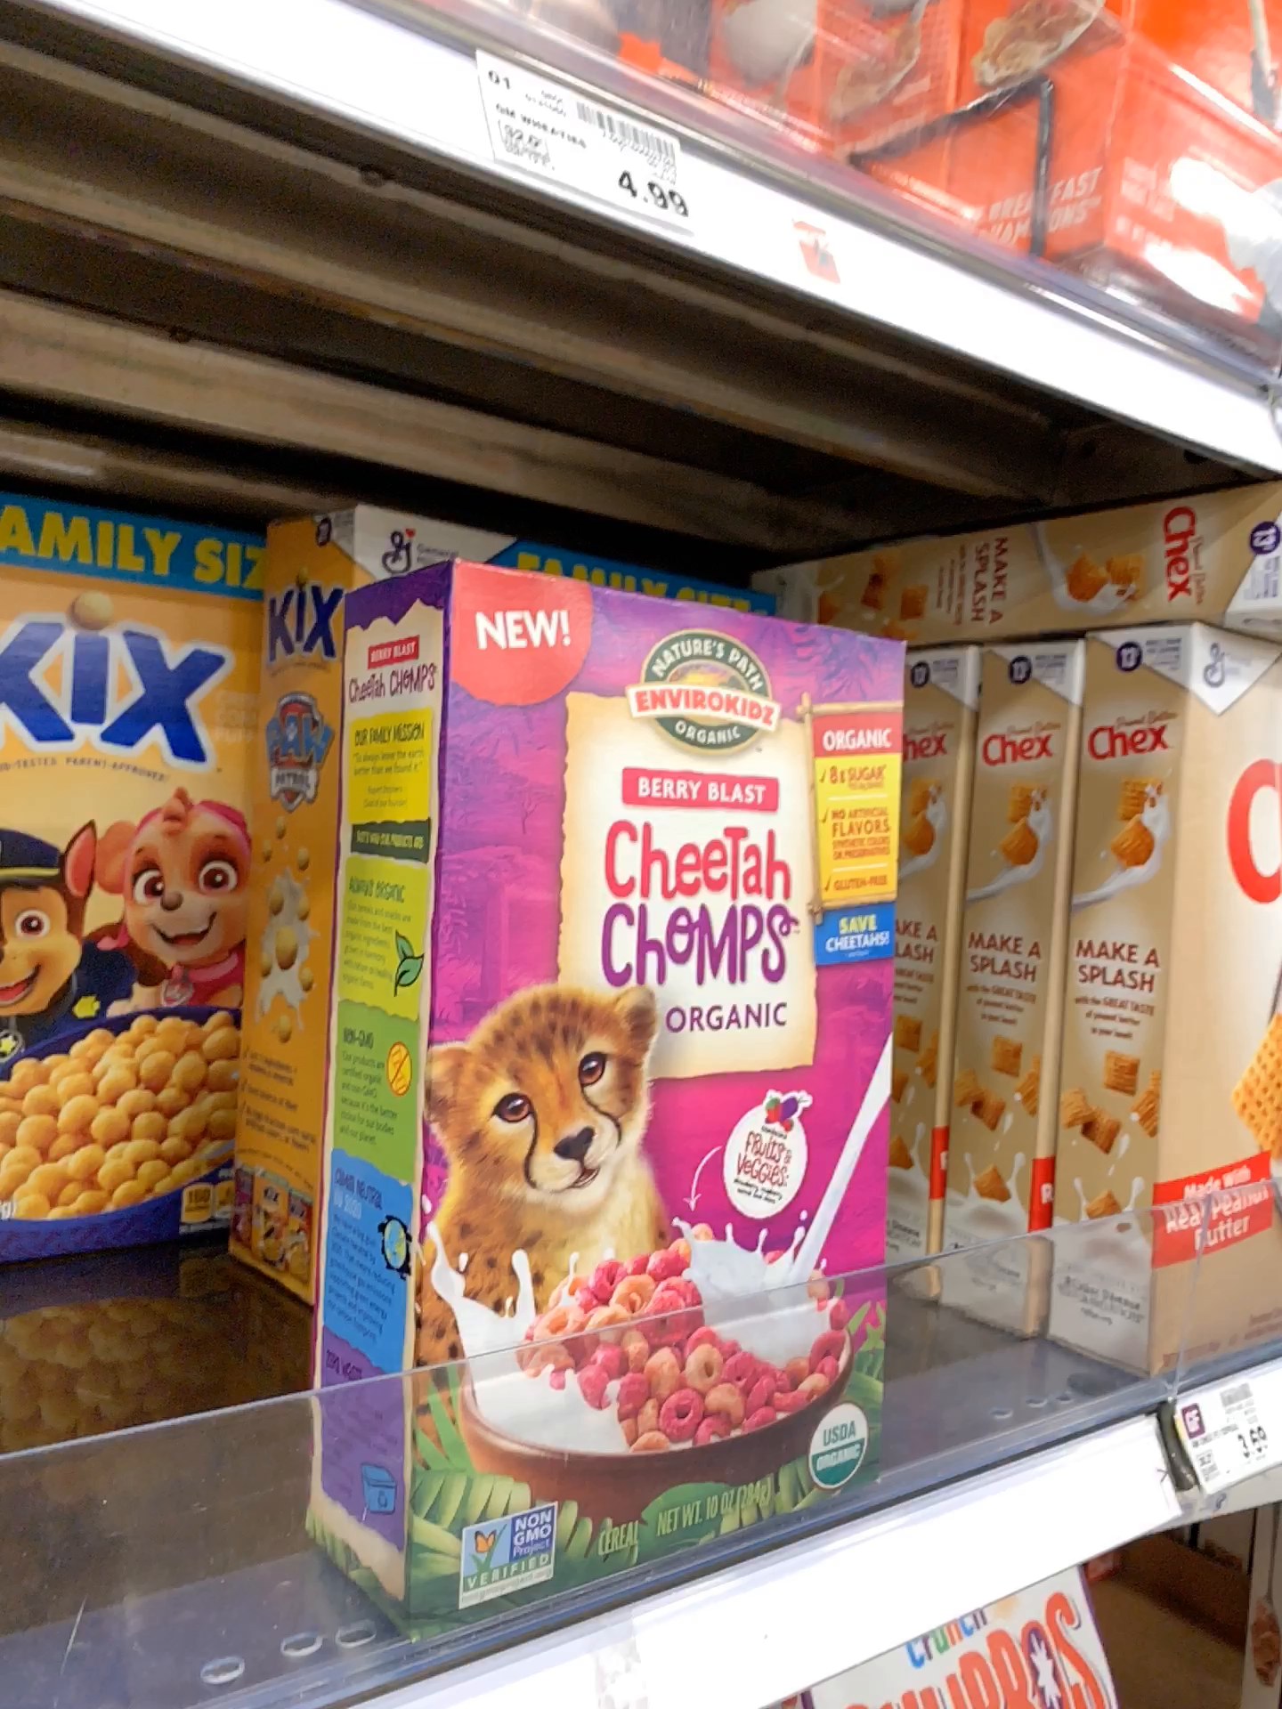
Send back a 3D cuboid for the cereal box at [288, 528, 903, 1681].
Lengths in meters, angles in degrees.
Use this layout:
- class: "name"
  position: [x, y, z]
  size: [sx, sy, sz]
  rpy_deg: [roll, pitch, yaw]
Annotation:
- class: "cereal box"
  position: [-0.007, 0.060, 0.383]
  size: [0.160, 0.270, 0.060]
  rpy_deg: [3, -1, -36]
